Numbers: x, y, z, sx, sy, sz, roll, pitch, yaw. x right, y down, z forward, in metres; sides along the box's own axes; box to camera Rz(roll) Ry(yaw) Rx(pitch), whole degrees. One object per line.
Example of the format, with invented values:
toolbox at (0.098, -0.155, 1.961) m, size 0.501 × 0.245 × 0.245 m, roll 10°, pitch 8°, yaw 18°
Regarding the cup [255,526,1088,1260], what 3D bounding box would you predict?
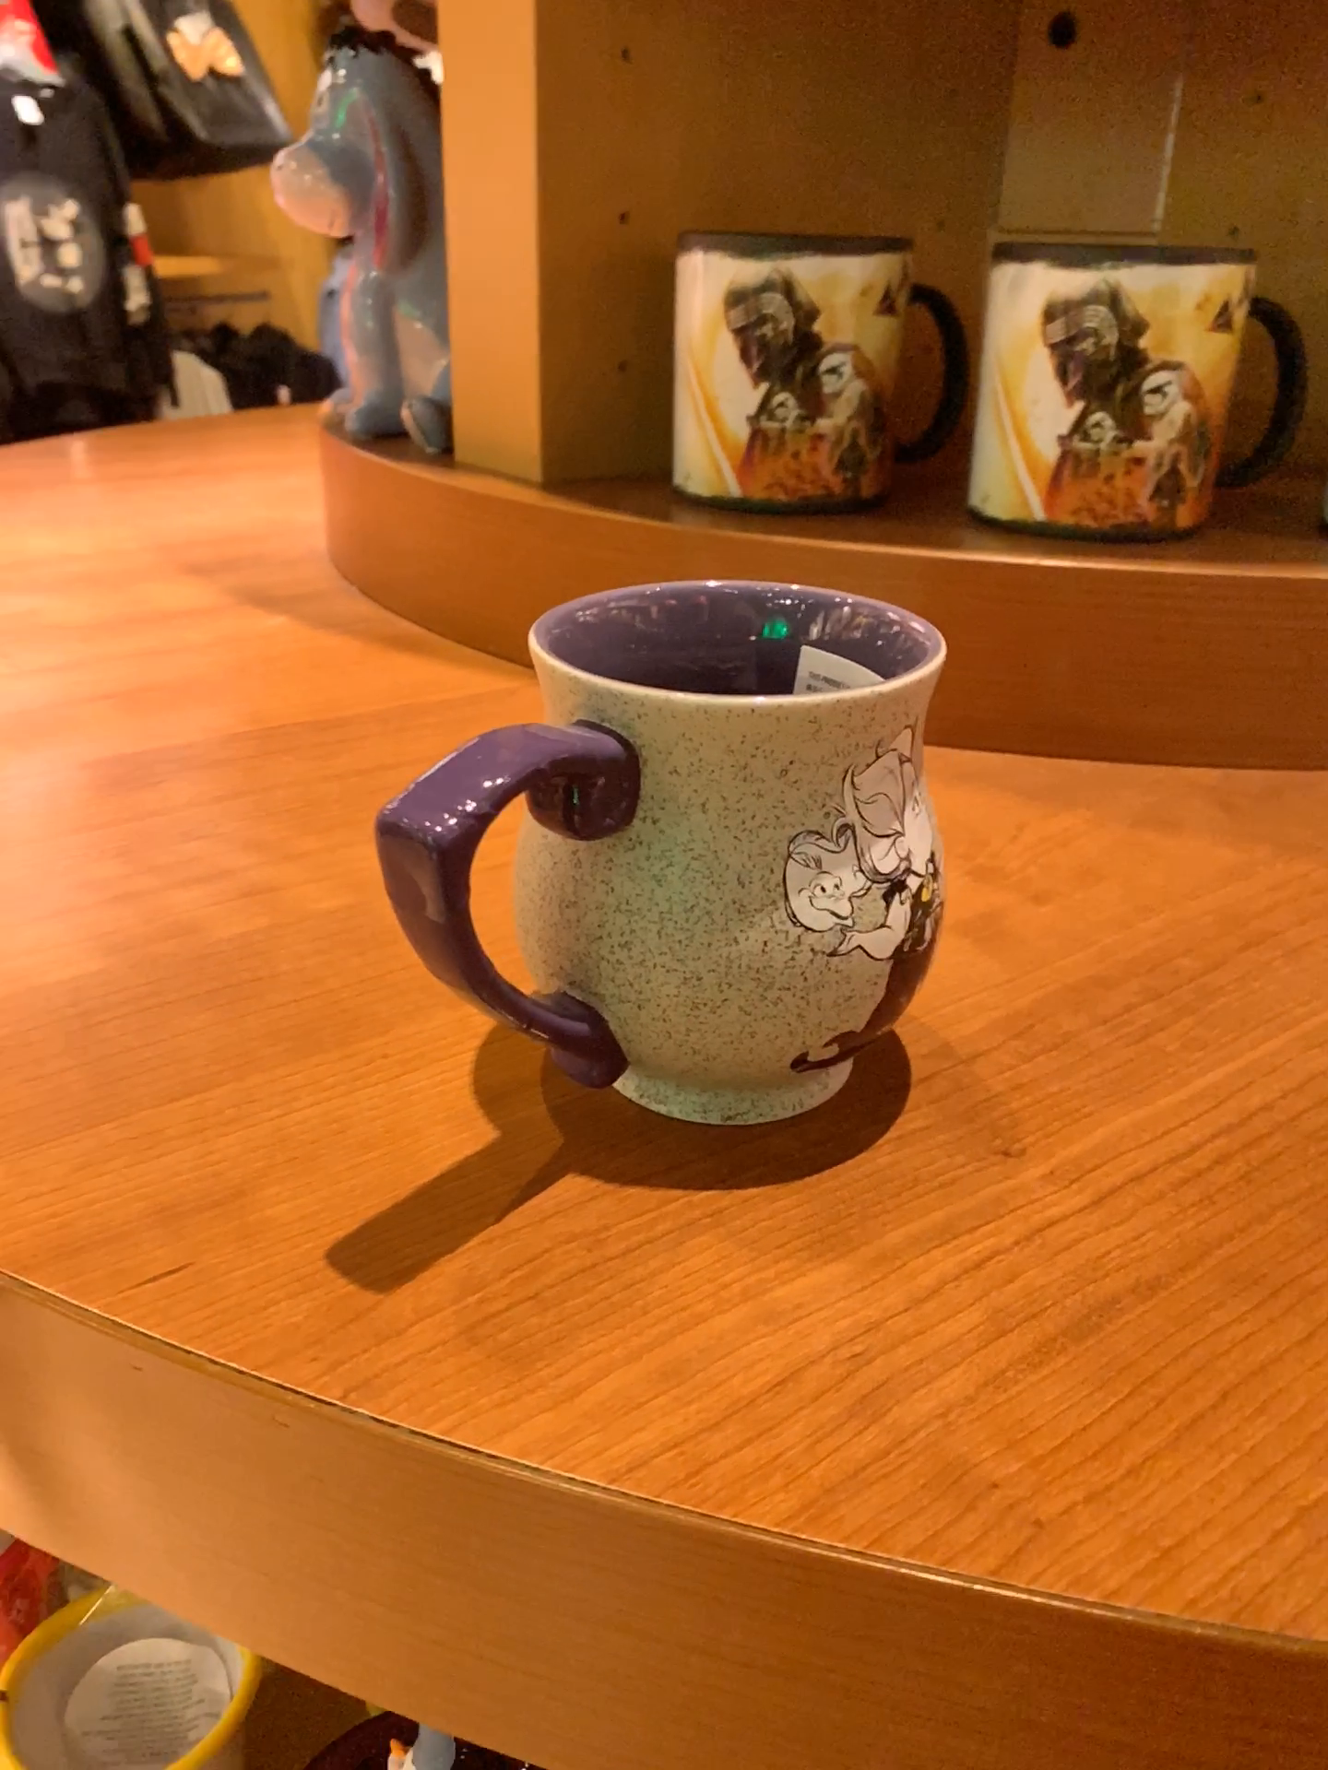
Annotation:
cup at (0.003, -0.014, 0.318) m, size 0.141 × 0.099 × 0.115 m, roll -22°, pitch 35°, yaw -39°
